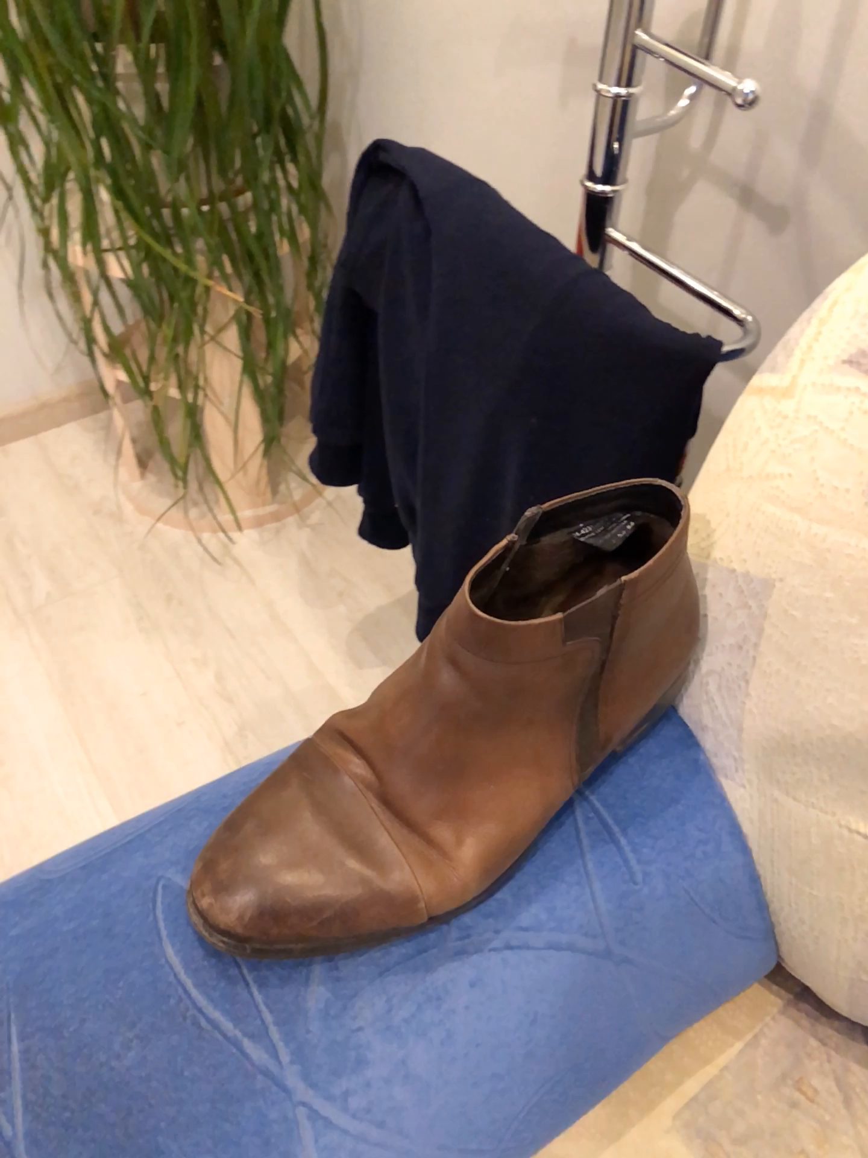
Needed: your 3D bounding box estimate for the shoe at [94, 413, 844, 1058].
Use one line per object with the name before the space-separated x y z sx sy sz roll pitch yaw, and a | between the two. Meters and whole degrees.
shoe | 0.027 0.056 0.447 0.311 0.139 0.110 -26 50 -26
